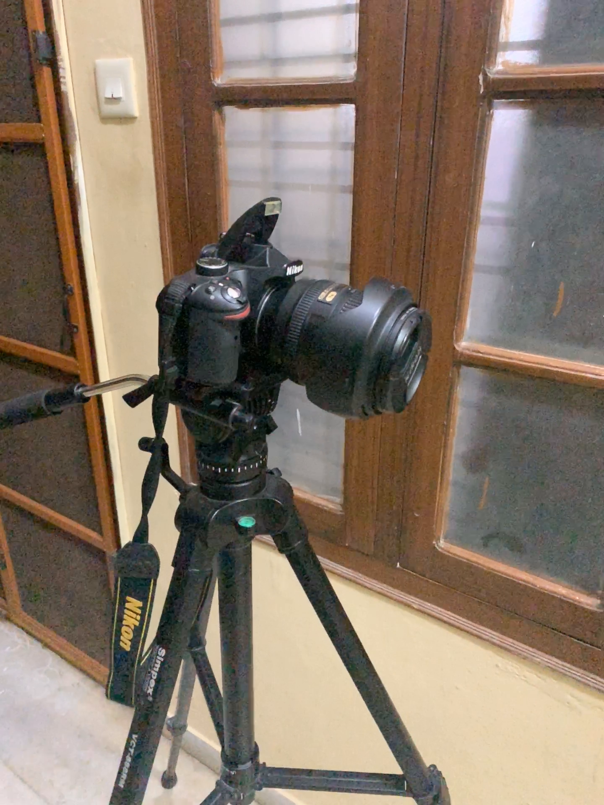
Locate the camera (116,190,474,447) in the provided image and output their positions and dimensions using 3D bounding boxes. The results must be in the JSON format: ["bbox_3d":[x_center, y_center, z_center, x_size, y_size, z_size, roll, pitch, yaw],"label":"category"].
[{"bbox_3d":[-0.002,-0.079,0.455,0.200,0.129,0.150,14,27,28],"label":"camera"}]
